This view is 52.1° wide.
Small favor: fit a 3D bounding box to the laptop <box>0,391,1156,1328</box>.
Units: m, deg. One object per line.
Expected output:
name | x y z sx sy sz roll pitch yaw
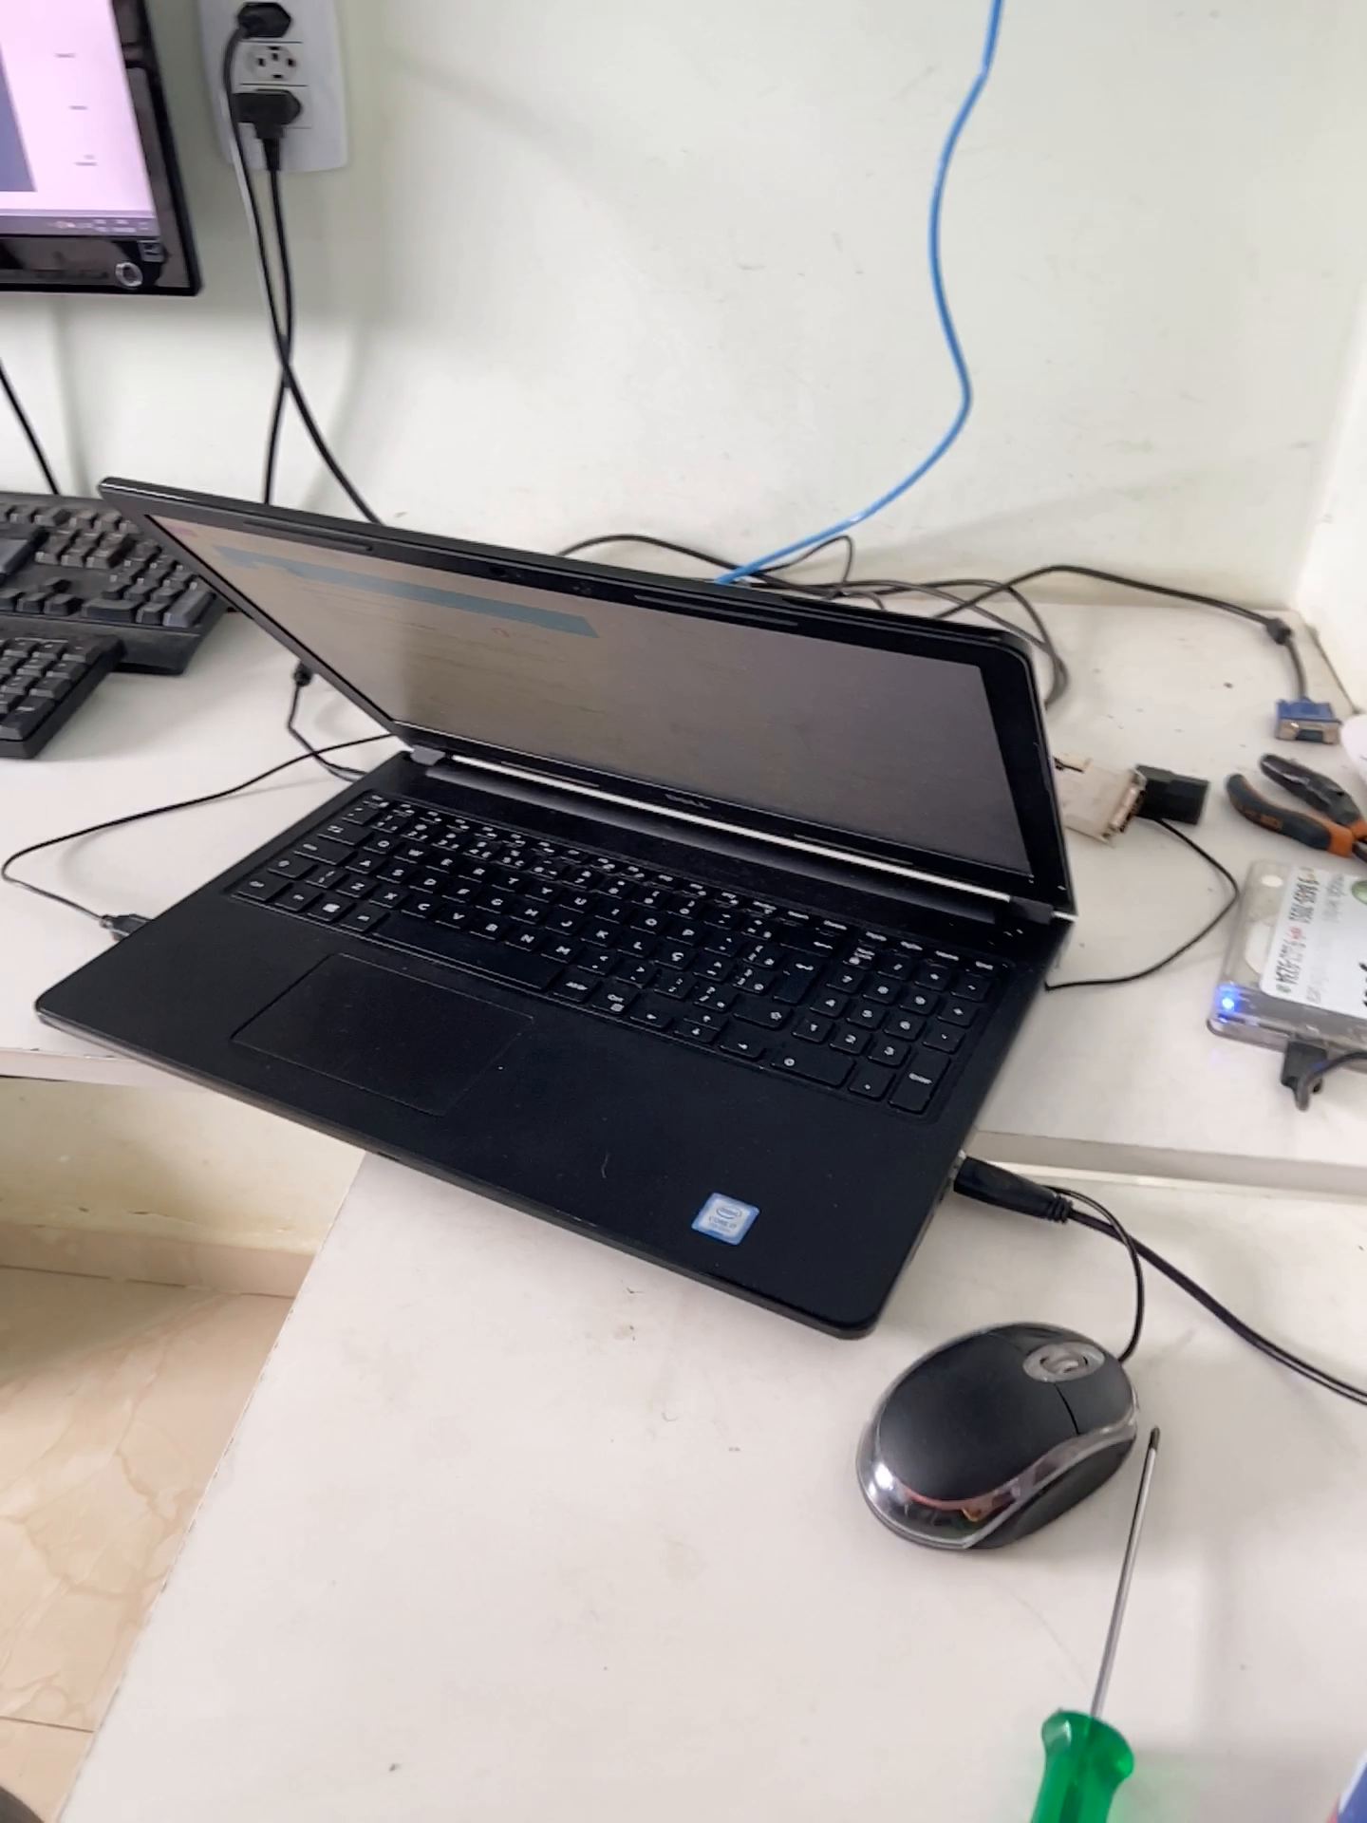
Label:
laptop | -0.047 -0.057 0.559 0.372 0.192 0.257 16 37 22
